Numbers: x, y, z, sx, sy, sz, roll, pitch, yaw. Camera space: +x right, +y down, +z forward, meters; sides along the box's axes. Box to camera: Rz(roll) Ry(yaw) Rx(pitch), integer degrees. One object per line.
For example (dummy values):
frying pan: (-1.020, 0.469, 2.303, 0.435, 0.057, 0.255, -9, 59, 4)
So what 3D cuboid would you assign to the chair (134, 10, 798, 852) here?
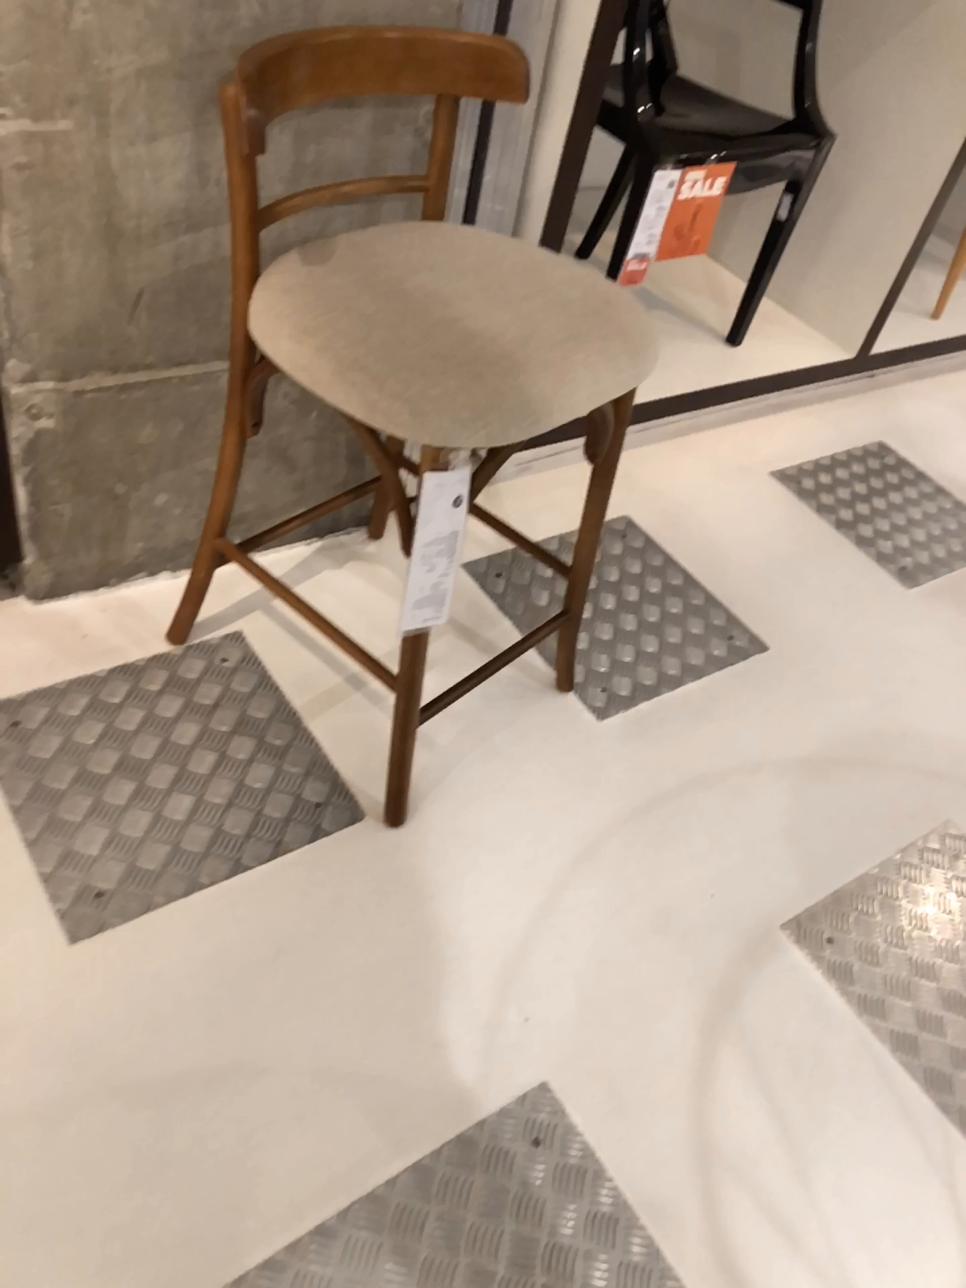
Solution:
chair: (-0.079, -0.260, 1.349, 0.481, 0.813, 0.493, 37, 47, 22)
